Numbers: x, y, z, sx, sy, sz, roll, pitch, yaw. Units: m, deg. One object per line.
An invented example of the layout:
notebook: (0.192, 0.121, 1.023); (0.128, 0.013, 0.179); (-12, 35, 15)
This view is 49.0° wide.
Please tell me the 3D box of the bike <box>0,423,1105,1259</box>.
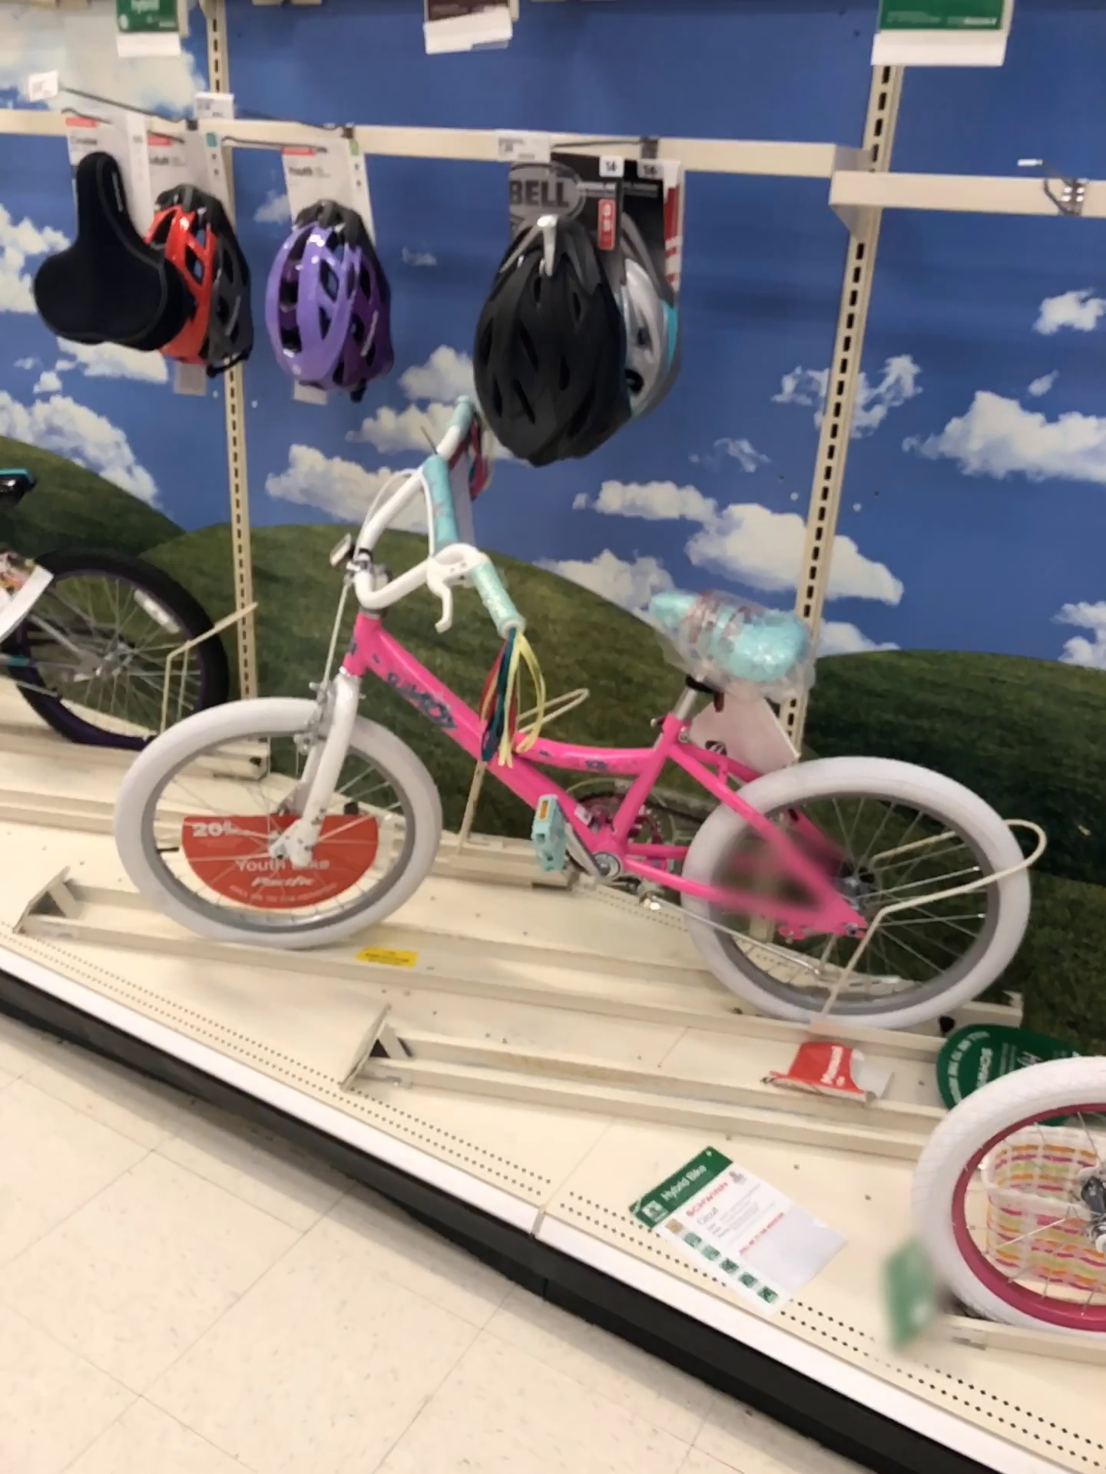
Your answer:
bike: (0.019, 0.065, 1.786); (1.346, 0.882, 0.730); (5, 23, 7)
